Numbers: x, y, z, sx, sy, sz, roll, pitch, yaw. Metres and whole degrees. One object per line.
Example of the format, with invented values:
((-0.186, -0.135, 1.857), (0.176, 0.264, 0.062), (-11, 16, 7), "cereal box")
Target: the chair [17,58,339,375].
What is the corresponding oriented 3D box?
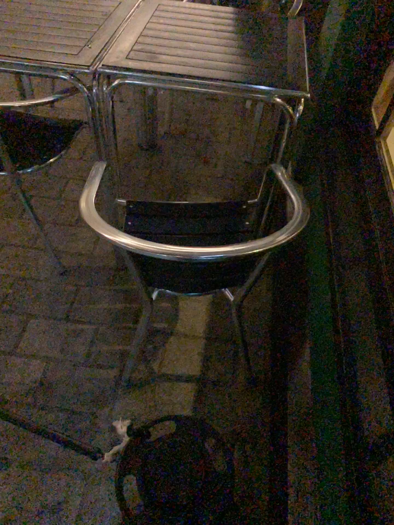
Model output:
((-0.074, -0.118, 1.334), (0.660, 0.783, 0.656), (-1, 50, -5), "chair")
